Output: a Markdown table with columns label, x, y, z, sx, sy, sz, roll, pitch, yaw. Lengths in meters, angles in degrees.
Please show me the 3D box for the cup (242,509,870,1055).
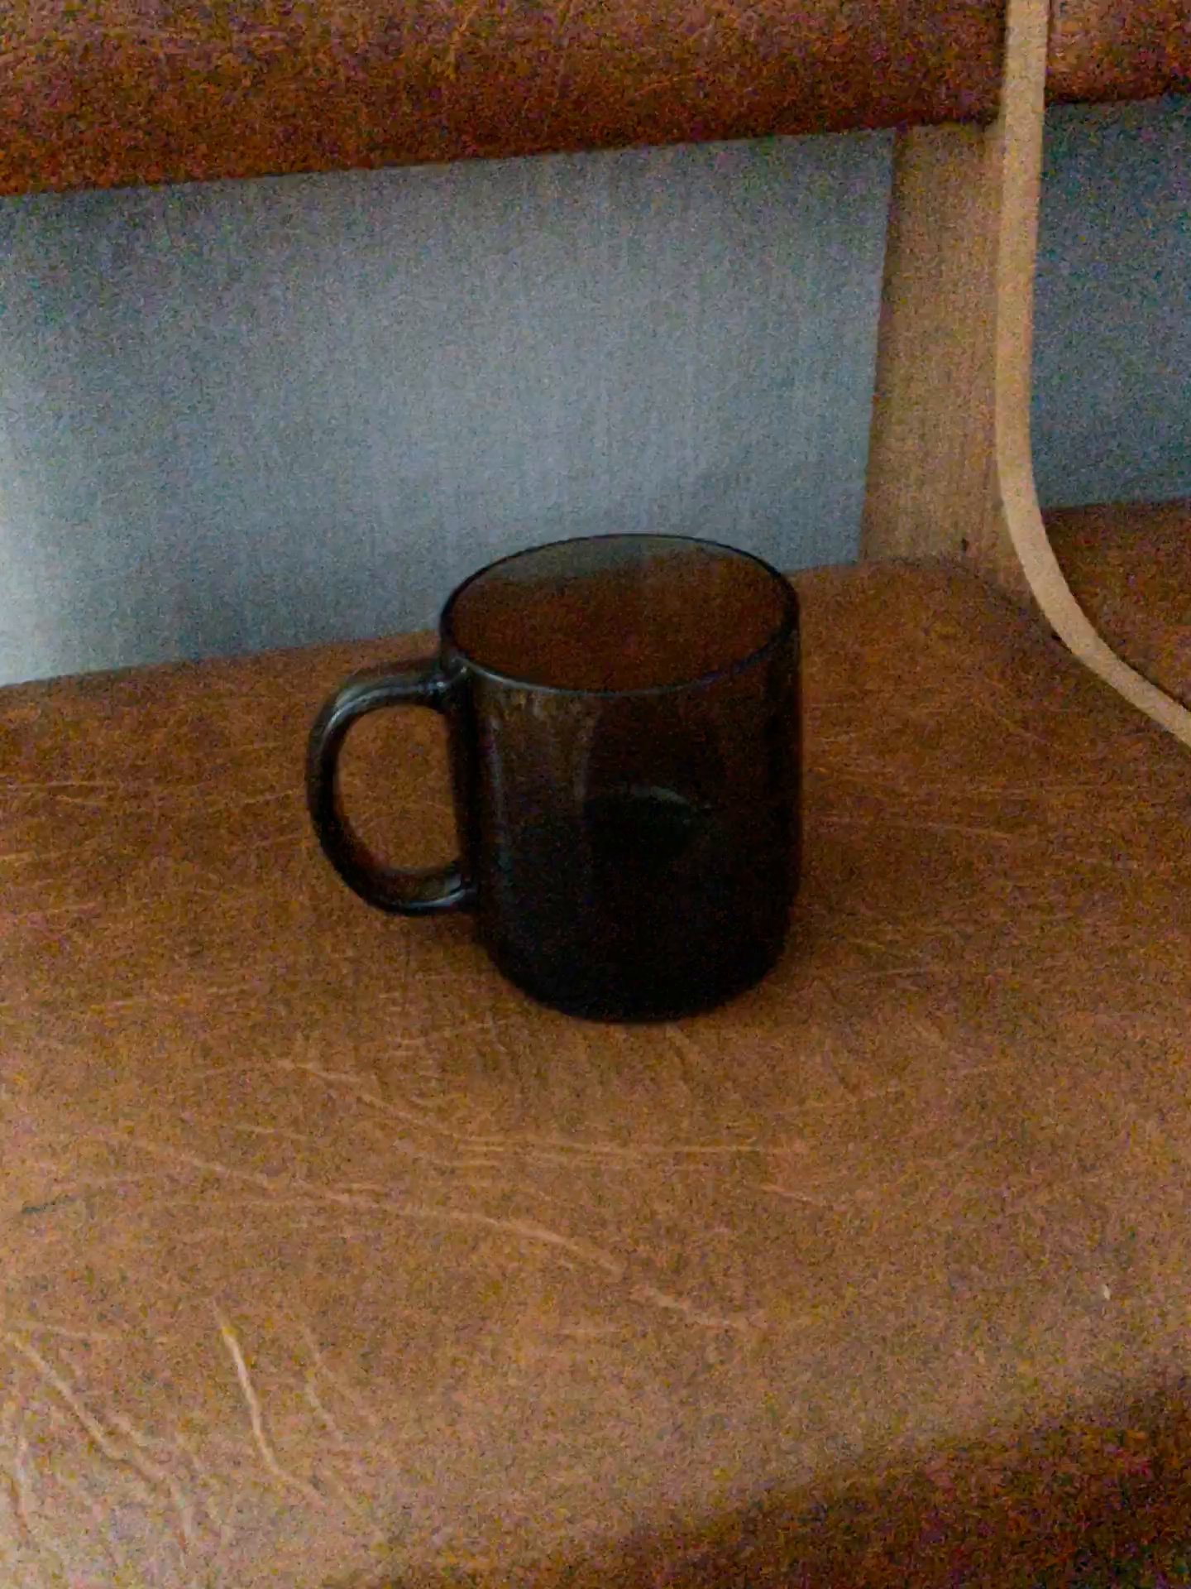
| label | x | y | z | sx | sy | sz | roll | pitch | yaw |
| --- | --- | --- | --- | --- | --- | --- | --- | --- | --- |
| cup | -0.009 | -0.006 | 0.290 | 0.120 | 0.089 | 0.081 | -5 | 33 | -4 |
